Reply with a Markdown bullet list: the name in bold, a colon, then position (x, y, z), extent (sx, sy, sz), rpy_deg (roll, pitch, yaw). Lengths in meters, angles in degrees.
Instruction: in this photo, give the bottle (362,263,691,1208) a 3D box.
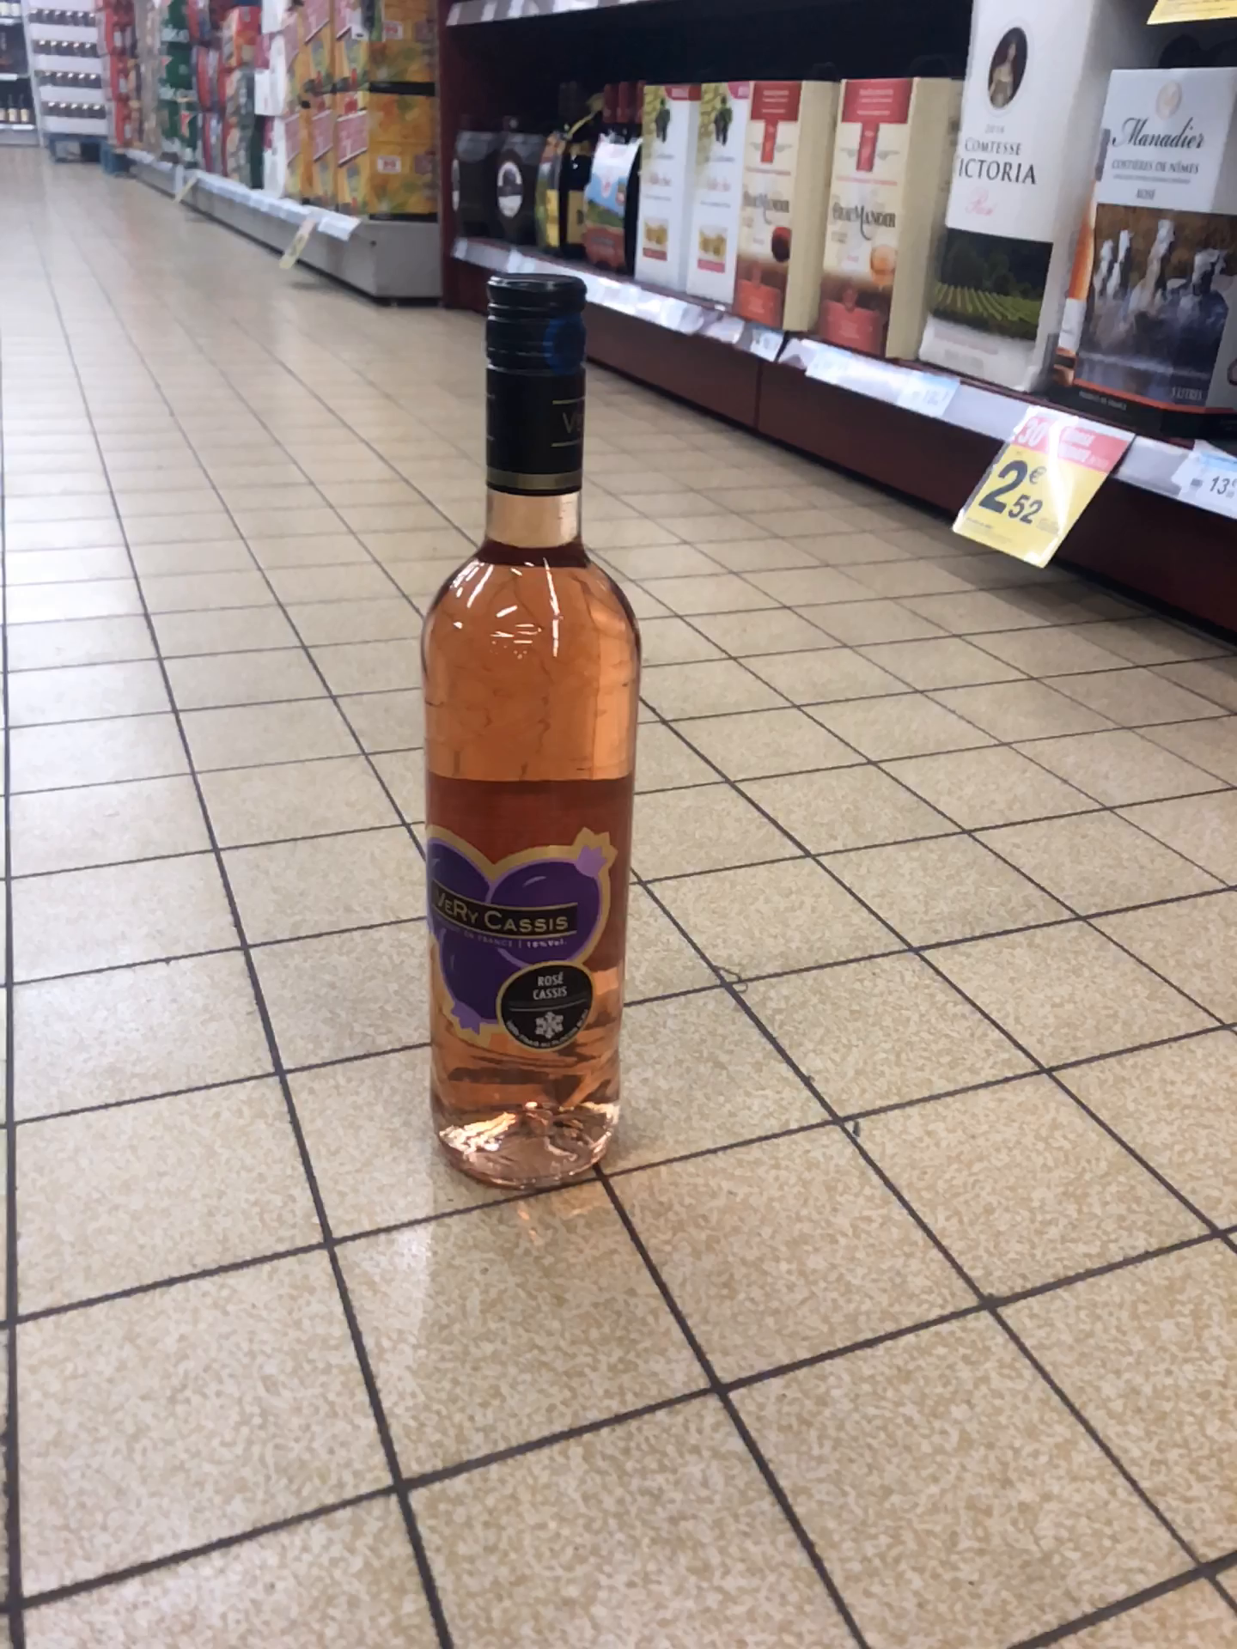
- **bottle**: position (-0.029, -0.021, 0.452), extent (0.080, 0.298, 0.080), rpy_deg (2, 26, -1)
